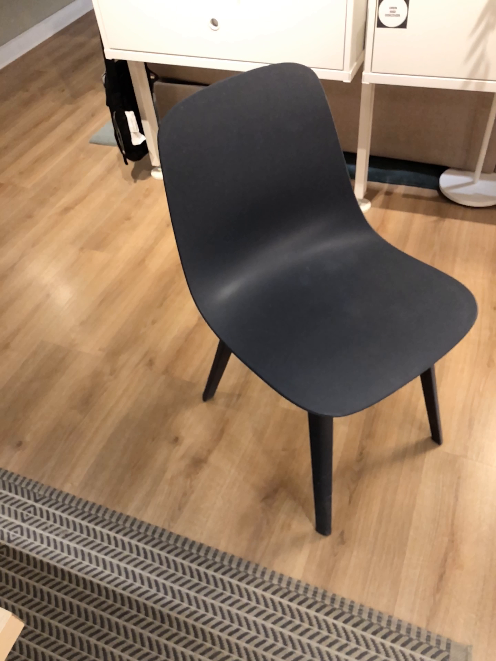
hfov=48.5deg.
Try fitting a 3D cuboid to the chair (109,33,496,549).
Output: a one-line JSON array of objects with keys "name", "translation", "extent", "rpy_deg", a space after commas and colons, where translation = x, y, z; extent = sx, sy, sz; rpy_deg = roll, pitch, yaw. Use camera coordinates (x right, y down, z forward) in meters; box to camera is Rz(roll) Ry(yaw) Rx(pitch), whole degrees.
[{"name": "chair", "translation": [0.152, -0.070, 1.103], "extent": [0.471, 0.727, 0.561], "rpy_deg": [-31, 51, -21]}]
